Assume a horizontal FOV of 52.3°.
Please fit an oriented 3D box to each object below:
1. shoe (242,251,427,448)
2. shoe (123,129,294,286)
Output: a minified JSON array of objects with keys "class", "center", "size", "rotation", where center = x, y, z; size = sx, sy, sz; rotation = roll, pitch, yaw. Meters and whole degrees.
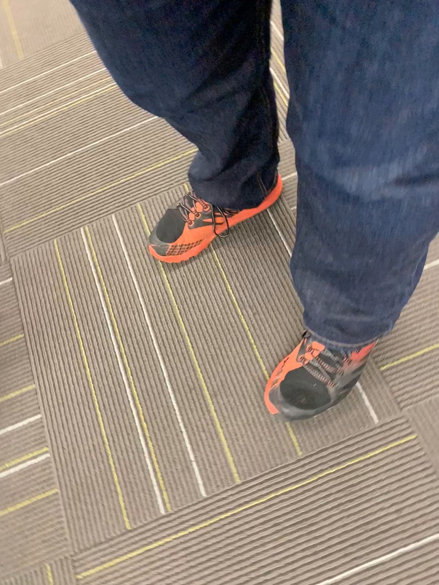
[{"class":"shoe","center":[0.191,0.096,0.753],"size":[0.130,0.100,0.300],"rotation":[38,80,21]},{"class":"shoe","center":[-0.015,-0.172,0.918],"size":[0.320,0.120,0.120],"rotation":[-35,67,-4]}]
